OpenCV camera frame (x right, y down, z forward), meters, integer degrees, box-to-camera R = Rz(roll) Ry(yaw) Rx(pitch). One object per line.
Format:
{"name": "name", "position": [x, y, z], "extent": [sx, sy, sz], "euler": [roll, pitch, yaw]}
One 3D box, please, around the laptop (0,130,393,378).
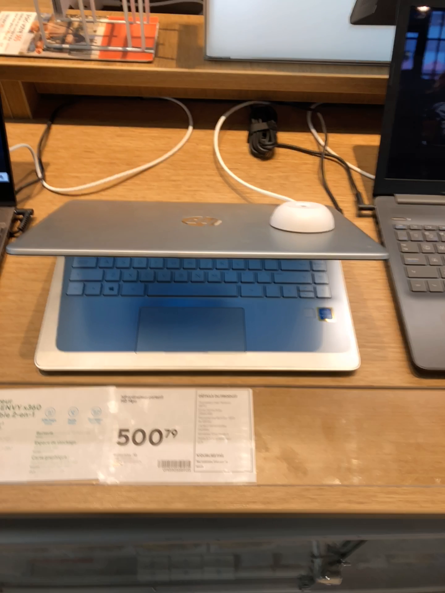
{"name": "laptop", "position": [-0.026, -0.045, 0.490], "extent": [0.314, 0.110, 0.217], "euler": [1, 56, -2]}
